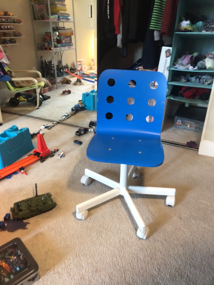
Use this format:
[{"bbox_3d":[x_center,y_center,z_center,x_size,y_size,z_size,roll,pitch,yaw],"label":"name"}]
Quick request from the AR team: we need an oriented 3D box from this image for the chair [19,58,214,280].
[{"bbox_3d":[0.056,0.062,1.180,0.620,0.814,0.675,7,27,7],"label":"chair"}]
